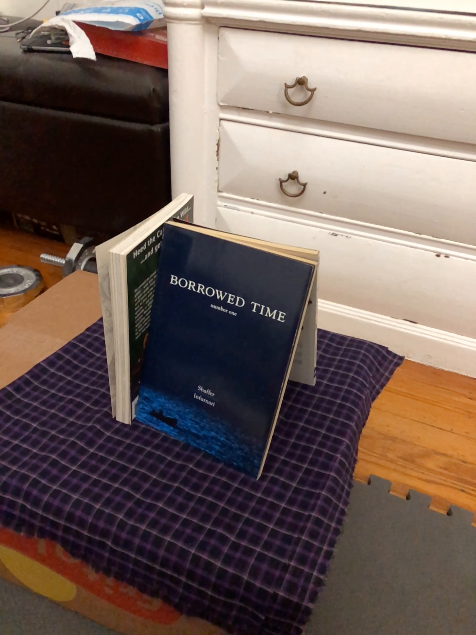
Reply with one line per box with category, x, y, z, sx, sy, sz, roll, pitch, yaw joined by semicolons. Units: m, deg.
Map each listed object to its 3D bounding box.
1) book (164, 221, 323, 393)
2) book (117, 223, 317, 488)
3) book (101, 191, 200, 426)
book;0.011;-0.002;0.513;0.140;0.199;0.010;14;54;18
book;-0.027;0.033;0.462;0.150;0.199;0.010;18;16;19
book;-0.085;-0.009;0.509;0.020;0.189;0.141;19;36;12
